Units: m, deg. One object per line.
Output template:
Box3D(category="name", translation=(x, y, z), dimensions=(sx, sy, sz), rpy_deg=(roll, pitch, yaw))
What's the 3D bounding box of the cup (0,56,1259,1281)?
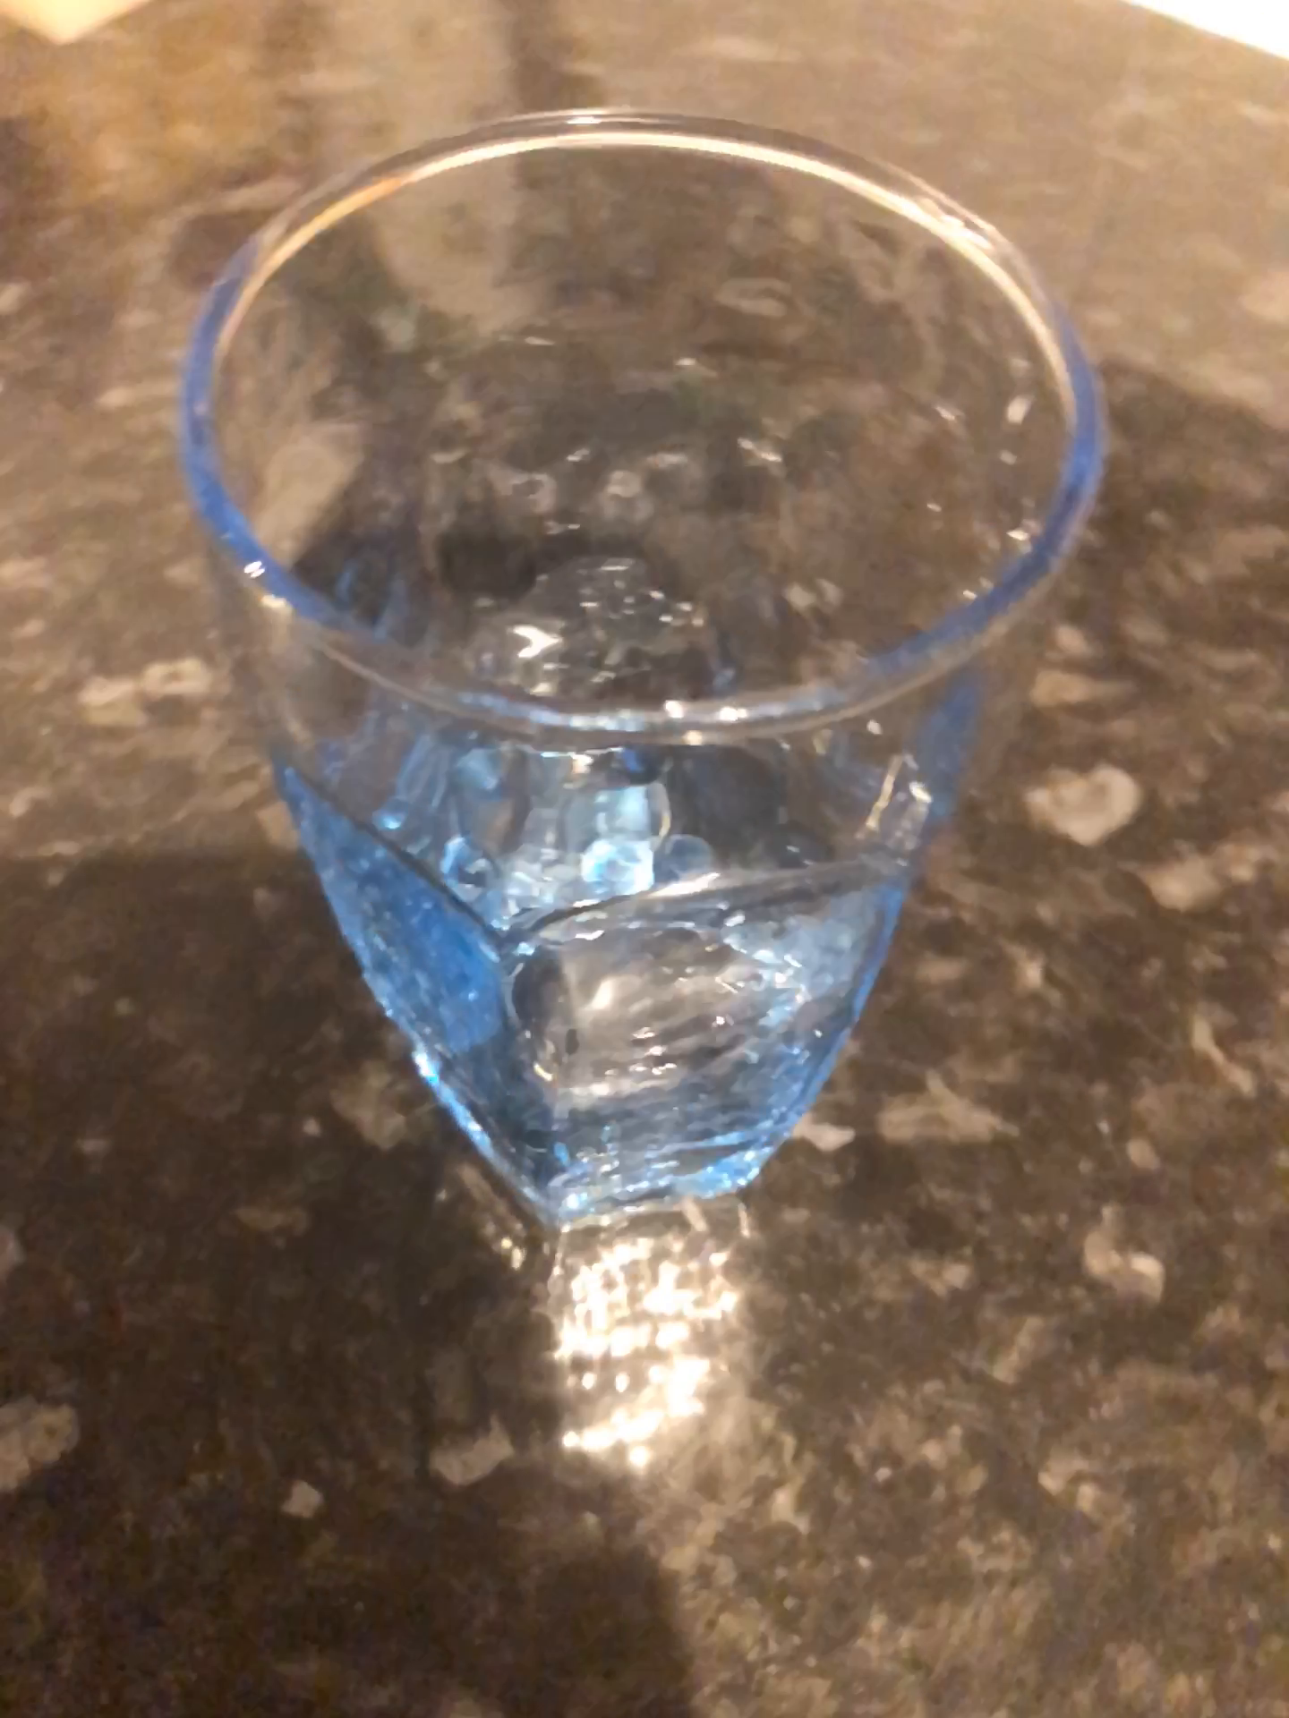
Box3D(category="cup", translation=(-0.004, -0.008, 0.158), dimensions=(0.080, 0.119, 0.070), rpy_deg=(0, 57, -2))
